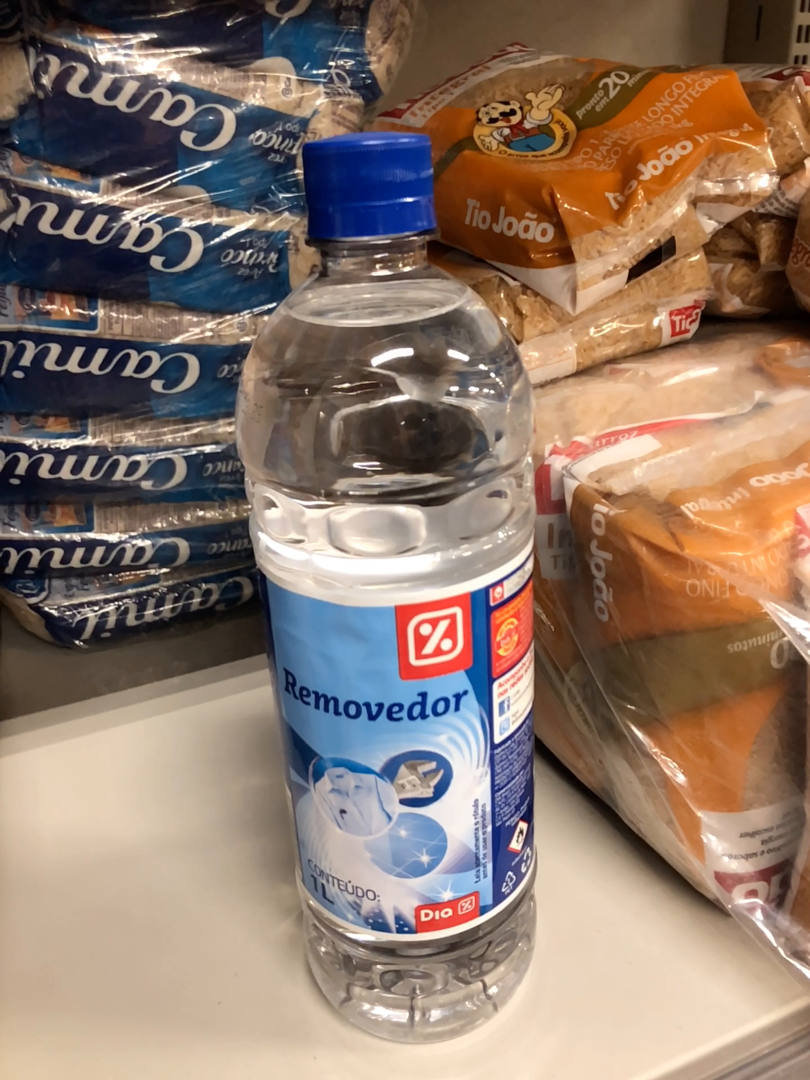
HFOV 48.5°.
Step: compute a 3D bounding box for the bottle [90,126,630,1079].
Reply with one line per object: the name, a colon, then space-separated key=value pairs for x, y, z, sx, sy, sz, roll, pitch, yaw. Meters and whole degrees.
bottle: x=0.000 y=0.027 z=0.258 sx=0.080 sy=0.258 sz=0.090 roll=18 pitch=35 yaw=36
